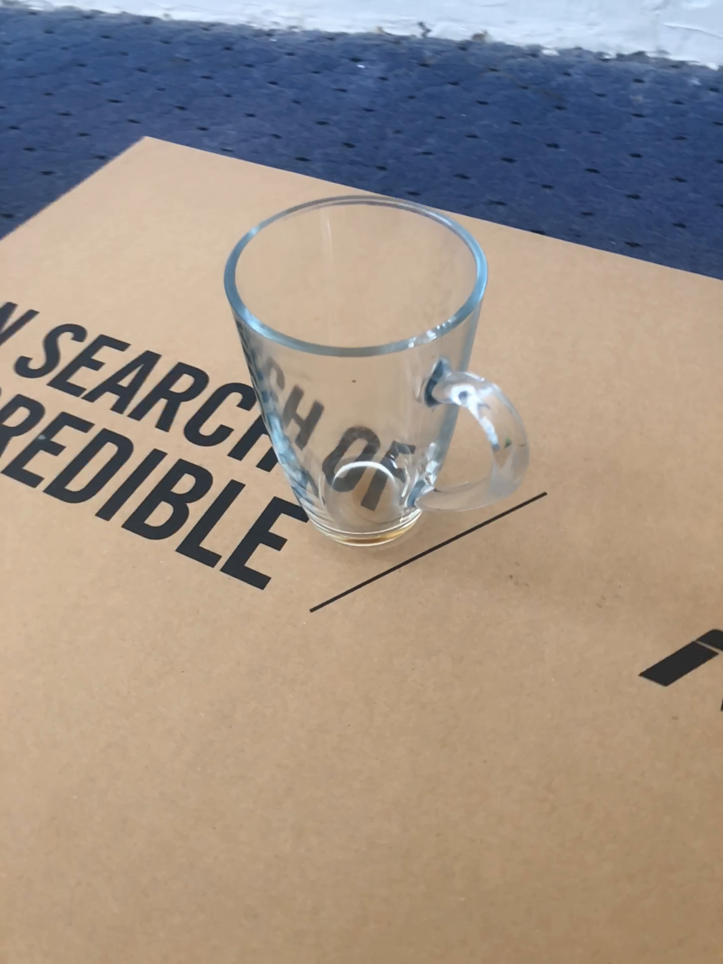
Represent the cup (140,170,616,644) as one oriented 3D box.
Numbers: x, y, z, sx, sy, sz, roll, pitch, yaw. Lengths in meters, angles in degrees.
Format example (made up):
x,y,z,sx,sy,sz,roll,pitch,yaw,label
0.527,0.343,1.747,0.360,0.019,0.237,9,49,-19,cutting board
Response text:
x,y,z,sx,sy,sz,roll,pitch,yaw,label
0.004,-0.028,0.263,0.110,0.090,0.080,30,55,24,cup
